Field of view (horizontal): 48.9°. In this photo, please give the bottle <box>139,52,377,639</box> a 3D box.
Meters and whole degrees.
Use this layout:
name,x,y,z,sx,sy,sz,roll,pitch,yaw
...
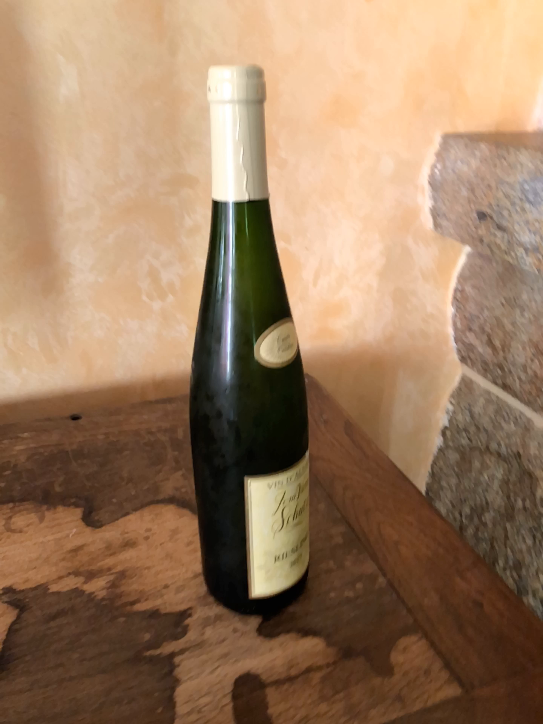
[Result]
name,x,y,z,sx,sy,sz,roll,pitch,yaw
bottle,-0.008,0.000,0.350,0.080,0.318,0.080,1,24,0
